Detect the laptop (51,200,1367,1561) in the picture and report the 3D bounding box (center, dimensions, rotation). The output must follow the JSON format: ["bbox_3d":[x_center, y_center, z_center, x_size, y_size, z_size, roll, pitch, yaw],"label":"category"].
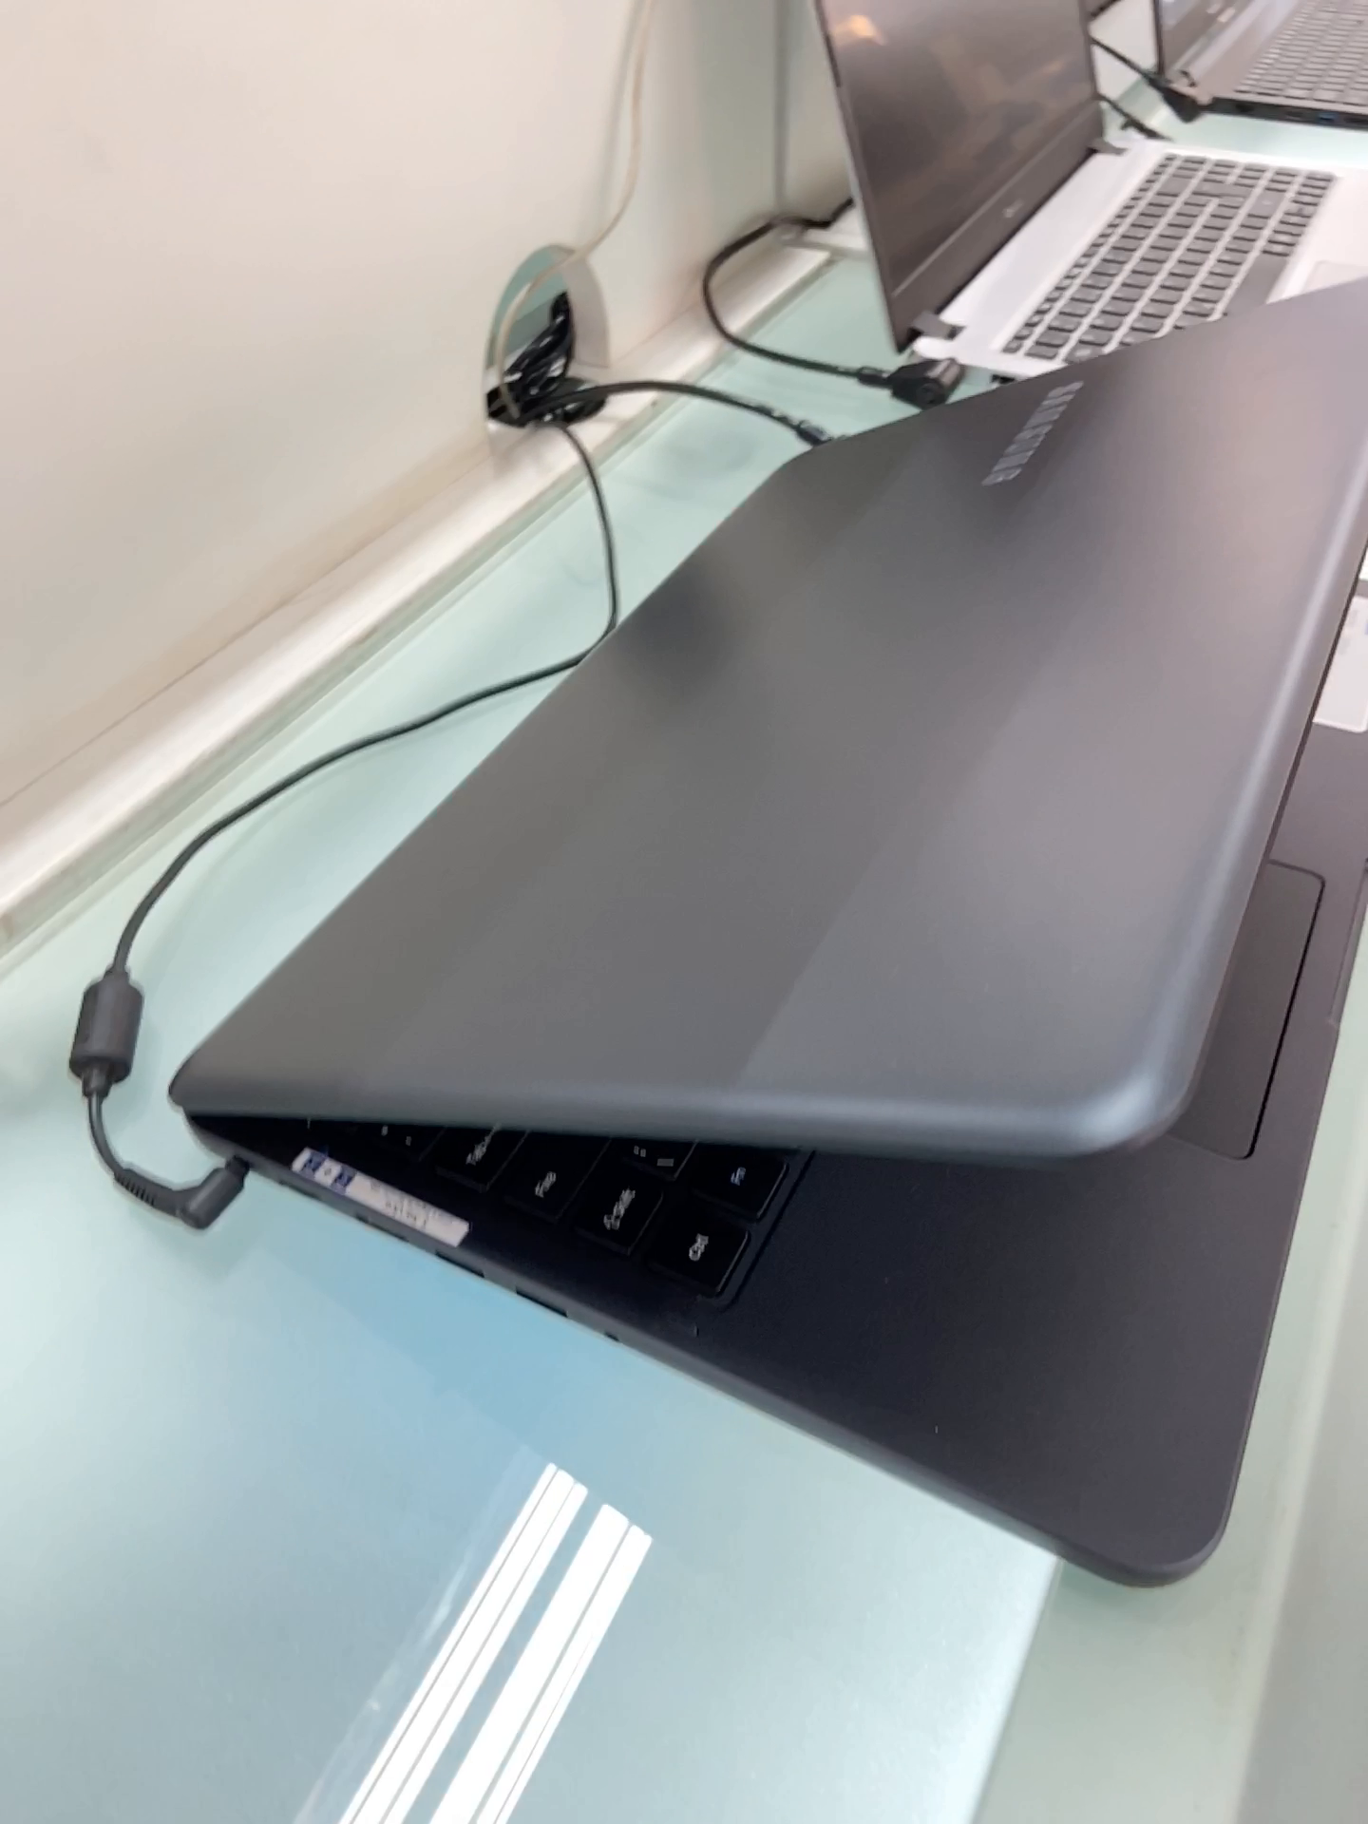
[{"bbox_3d":[0.069,-0.071,0.386,0.233,0.101,0.378,19,46,20],"label":"laptop"}]
